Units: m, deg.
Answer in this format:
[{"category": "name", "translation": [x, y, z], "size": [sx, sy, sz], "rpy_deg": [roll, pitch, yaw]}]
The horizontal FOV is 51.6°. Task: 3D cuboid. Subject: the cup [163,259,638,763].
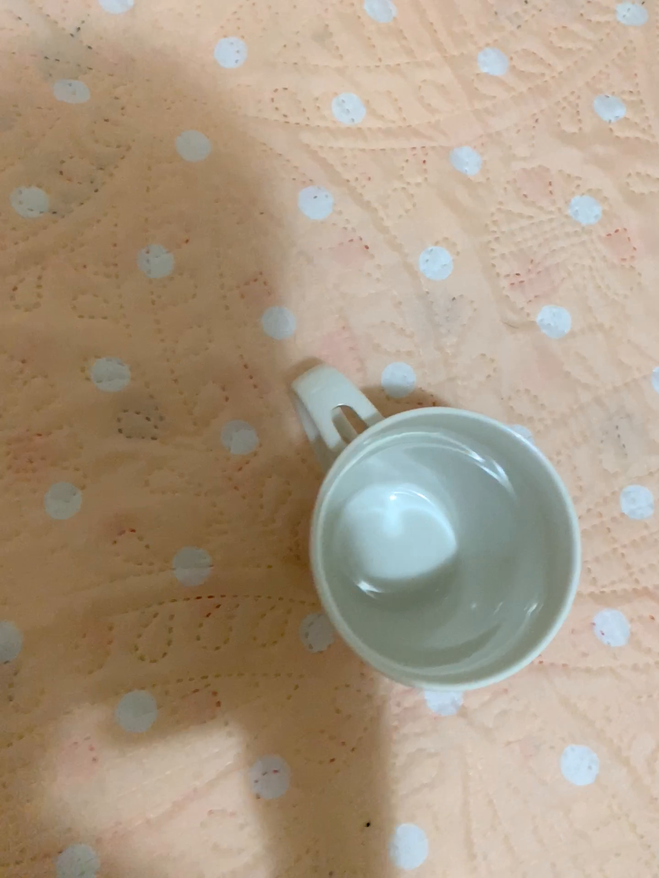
[{"category": "cup", "translation": [0.017, 0.025, 0.252], "size": [0.090, 0.100, 0.120], "rpy_deg": [-34, 85, -10]}]
